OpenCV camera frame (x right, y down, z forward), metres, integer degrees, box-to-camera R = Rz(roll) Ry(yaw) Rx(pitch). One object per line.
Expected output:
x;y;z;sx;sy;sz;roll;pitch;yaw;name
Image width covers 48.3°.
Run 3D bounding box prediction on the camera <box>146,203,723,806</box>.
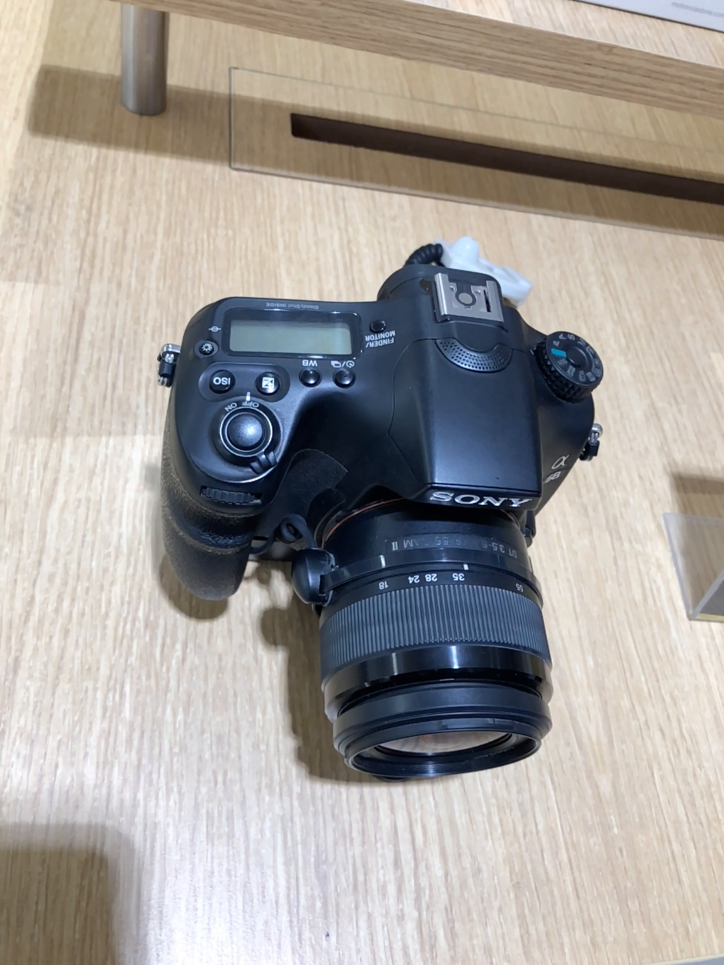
0.017;0.008;0.221;0.140;0.080;0.131;3;57;-14;camera
